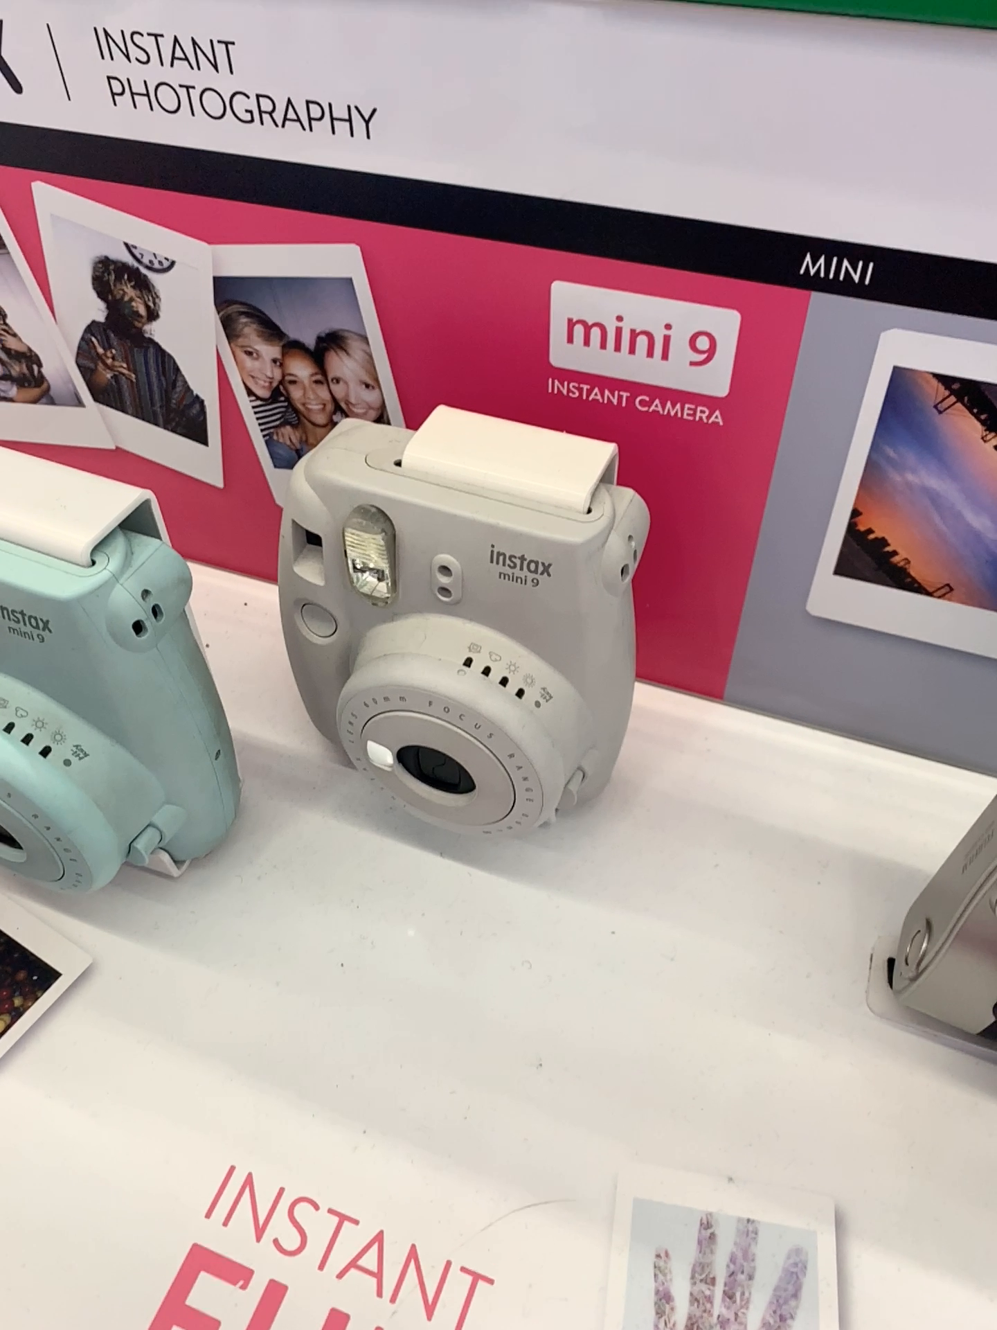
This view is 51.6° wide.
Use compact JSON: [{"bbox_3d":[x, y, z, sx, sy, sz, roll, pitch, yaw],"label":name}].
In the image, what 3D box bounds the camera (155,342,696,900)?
[{"bbox_3d":[-0.015,-0.013,0.295,0.110,0.109,0.081,17,49,16],"label":"camera"}]
